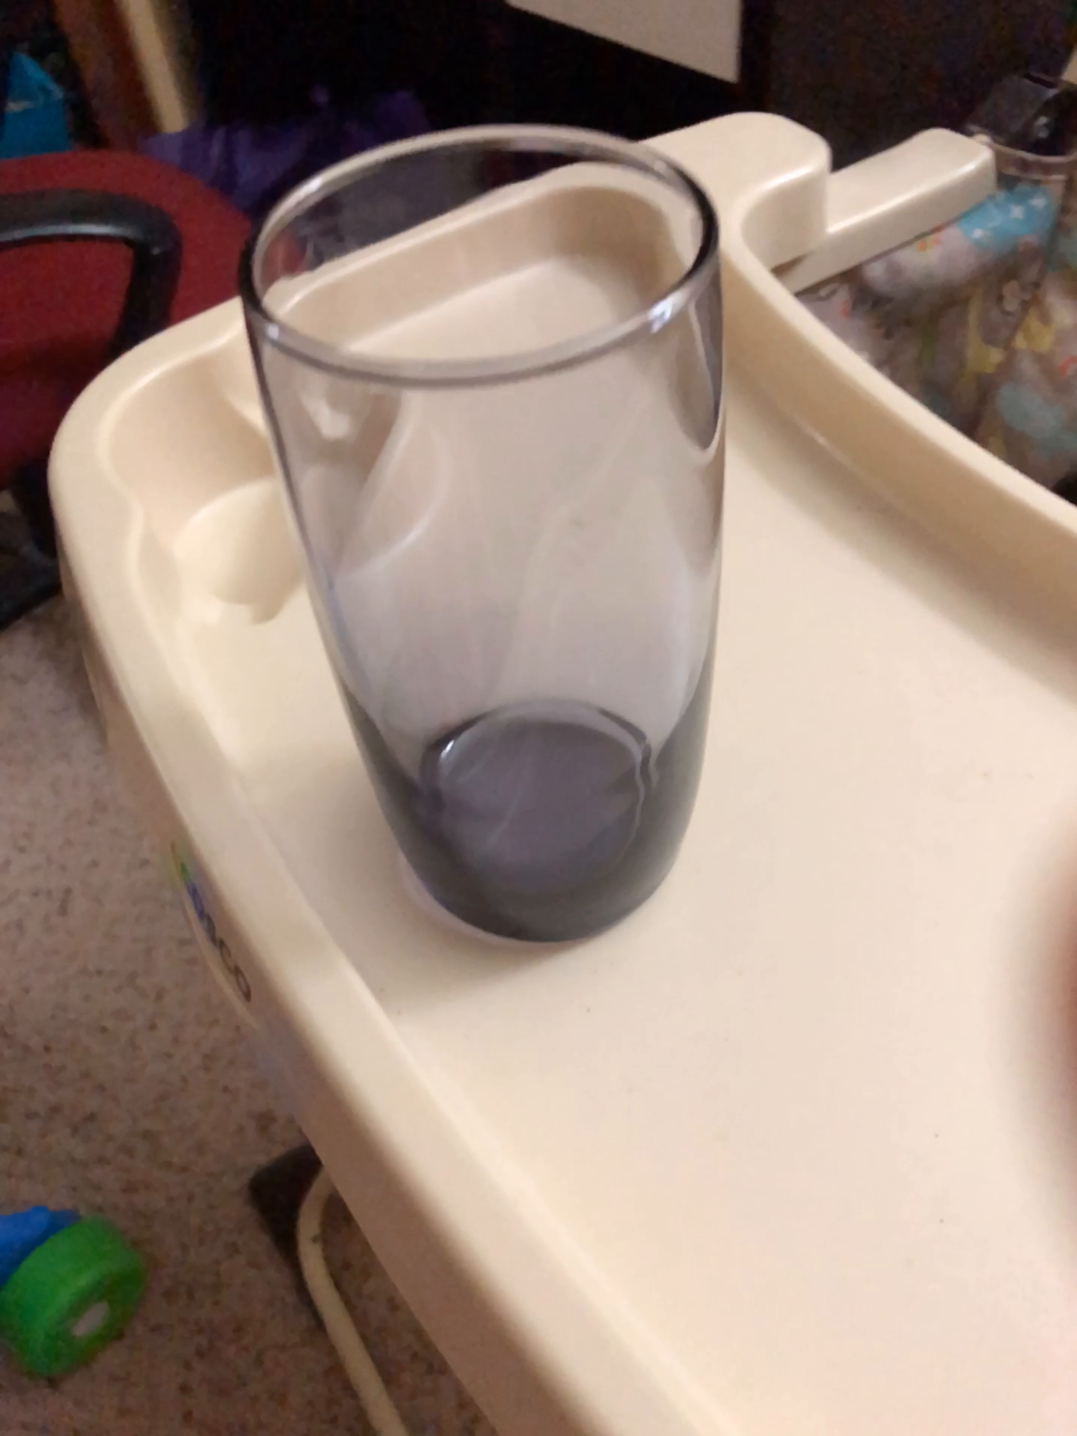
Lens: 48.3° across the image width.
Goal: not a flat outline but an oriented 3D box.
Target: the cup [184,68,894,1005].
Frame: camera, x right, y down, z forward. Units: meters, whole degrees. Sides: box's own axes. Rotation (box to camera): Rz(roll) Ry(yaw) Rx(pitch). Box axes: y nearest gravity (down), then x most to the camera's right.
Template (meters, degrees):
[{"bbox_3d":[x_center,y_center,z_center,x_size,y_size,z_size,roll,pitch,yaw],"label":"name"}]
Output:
[{"bbox_3d":[-0.001,-0.026,0.222,0.084,0.134,0.084,-3,49,4],"label":"cup"}]
